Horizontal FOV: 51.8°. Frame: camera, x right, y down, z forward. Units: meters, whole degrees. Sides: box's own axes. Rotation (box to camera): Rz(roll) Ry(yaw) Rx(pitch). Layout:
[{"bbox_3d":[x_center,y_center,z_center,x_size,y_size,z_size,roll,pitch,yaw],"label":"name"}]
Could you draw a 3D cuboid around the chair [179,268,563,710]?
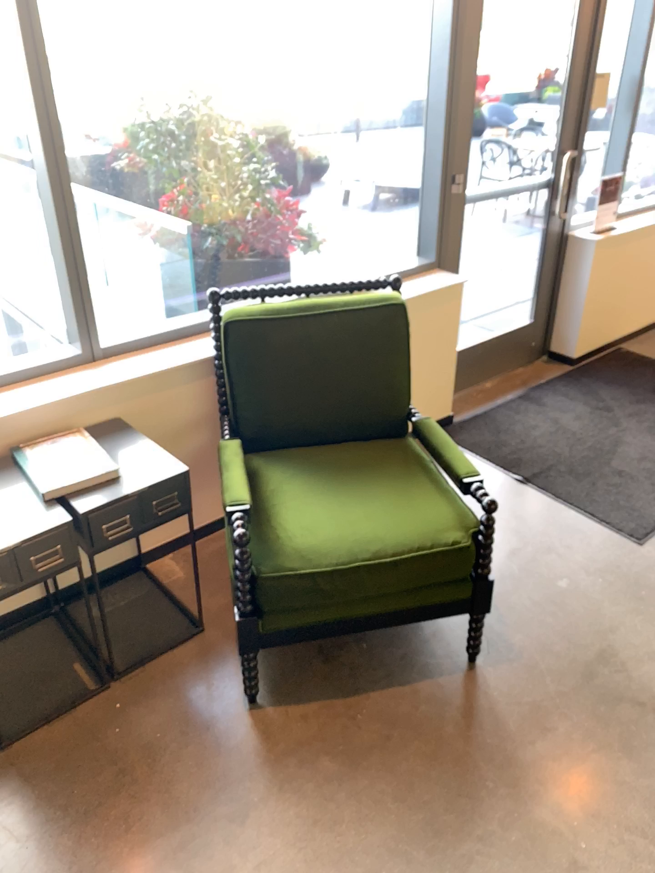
[{"bbox_3d":[0.032,0.085,2.133,0.870,0.924,0.946,-6,30,-10],"label":"chair"}]
